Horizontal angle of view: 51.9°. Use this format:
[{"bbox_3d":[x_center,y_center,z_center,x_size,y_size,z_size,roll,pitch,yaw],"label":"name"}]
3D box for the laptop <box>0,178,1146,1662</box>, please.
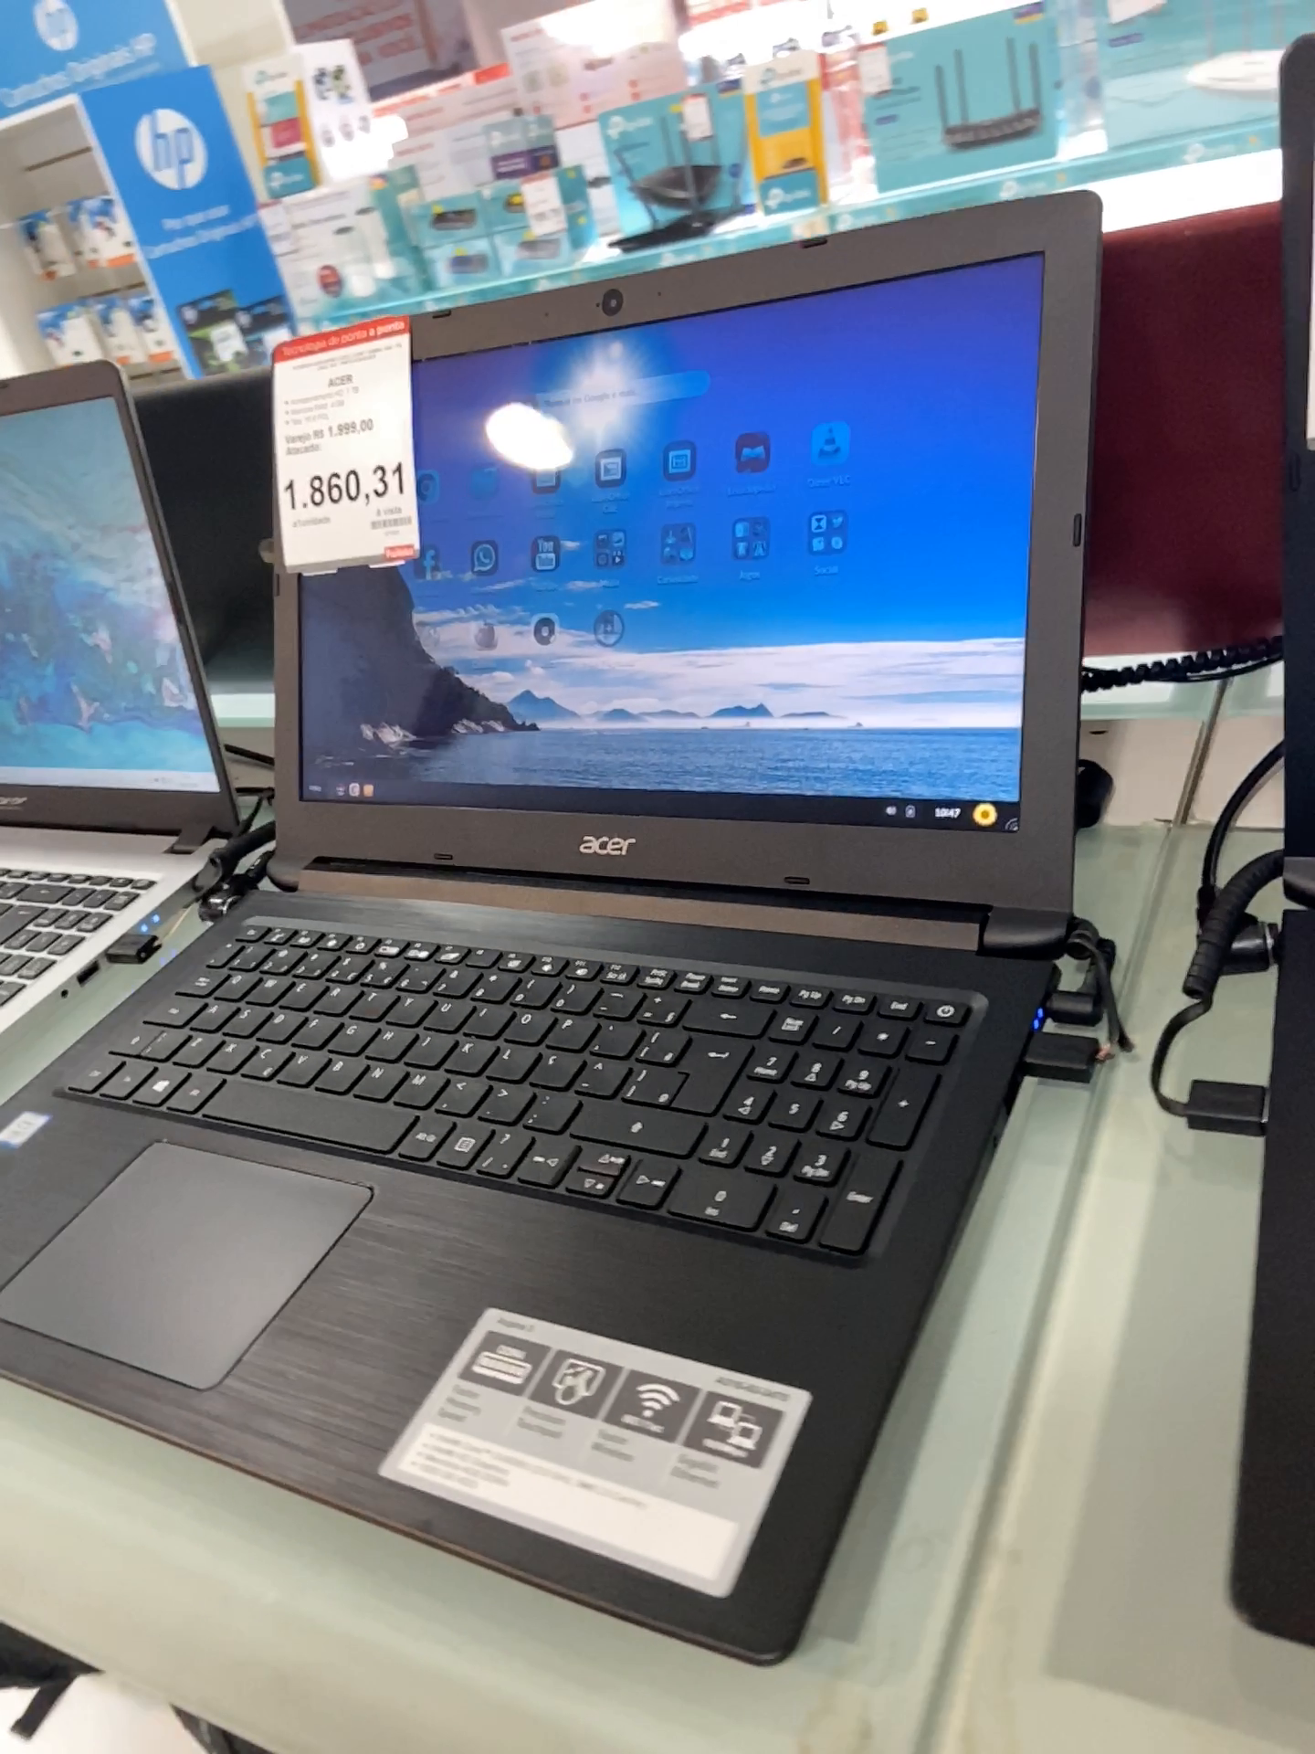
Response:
[{"bbox_3d":[-0.077,-0.042,0.458,0.379,0.215,0.380,3,35,31],"label":"laptop"}]
